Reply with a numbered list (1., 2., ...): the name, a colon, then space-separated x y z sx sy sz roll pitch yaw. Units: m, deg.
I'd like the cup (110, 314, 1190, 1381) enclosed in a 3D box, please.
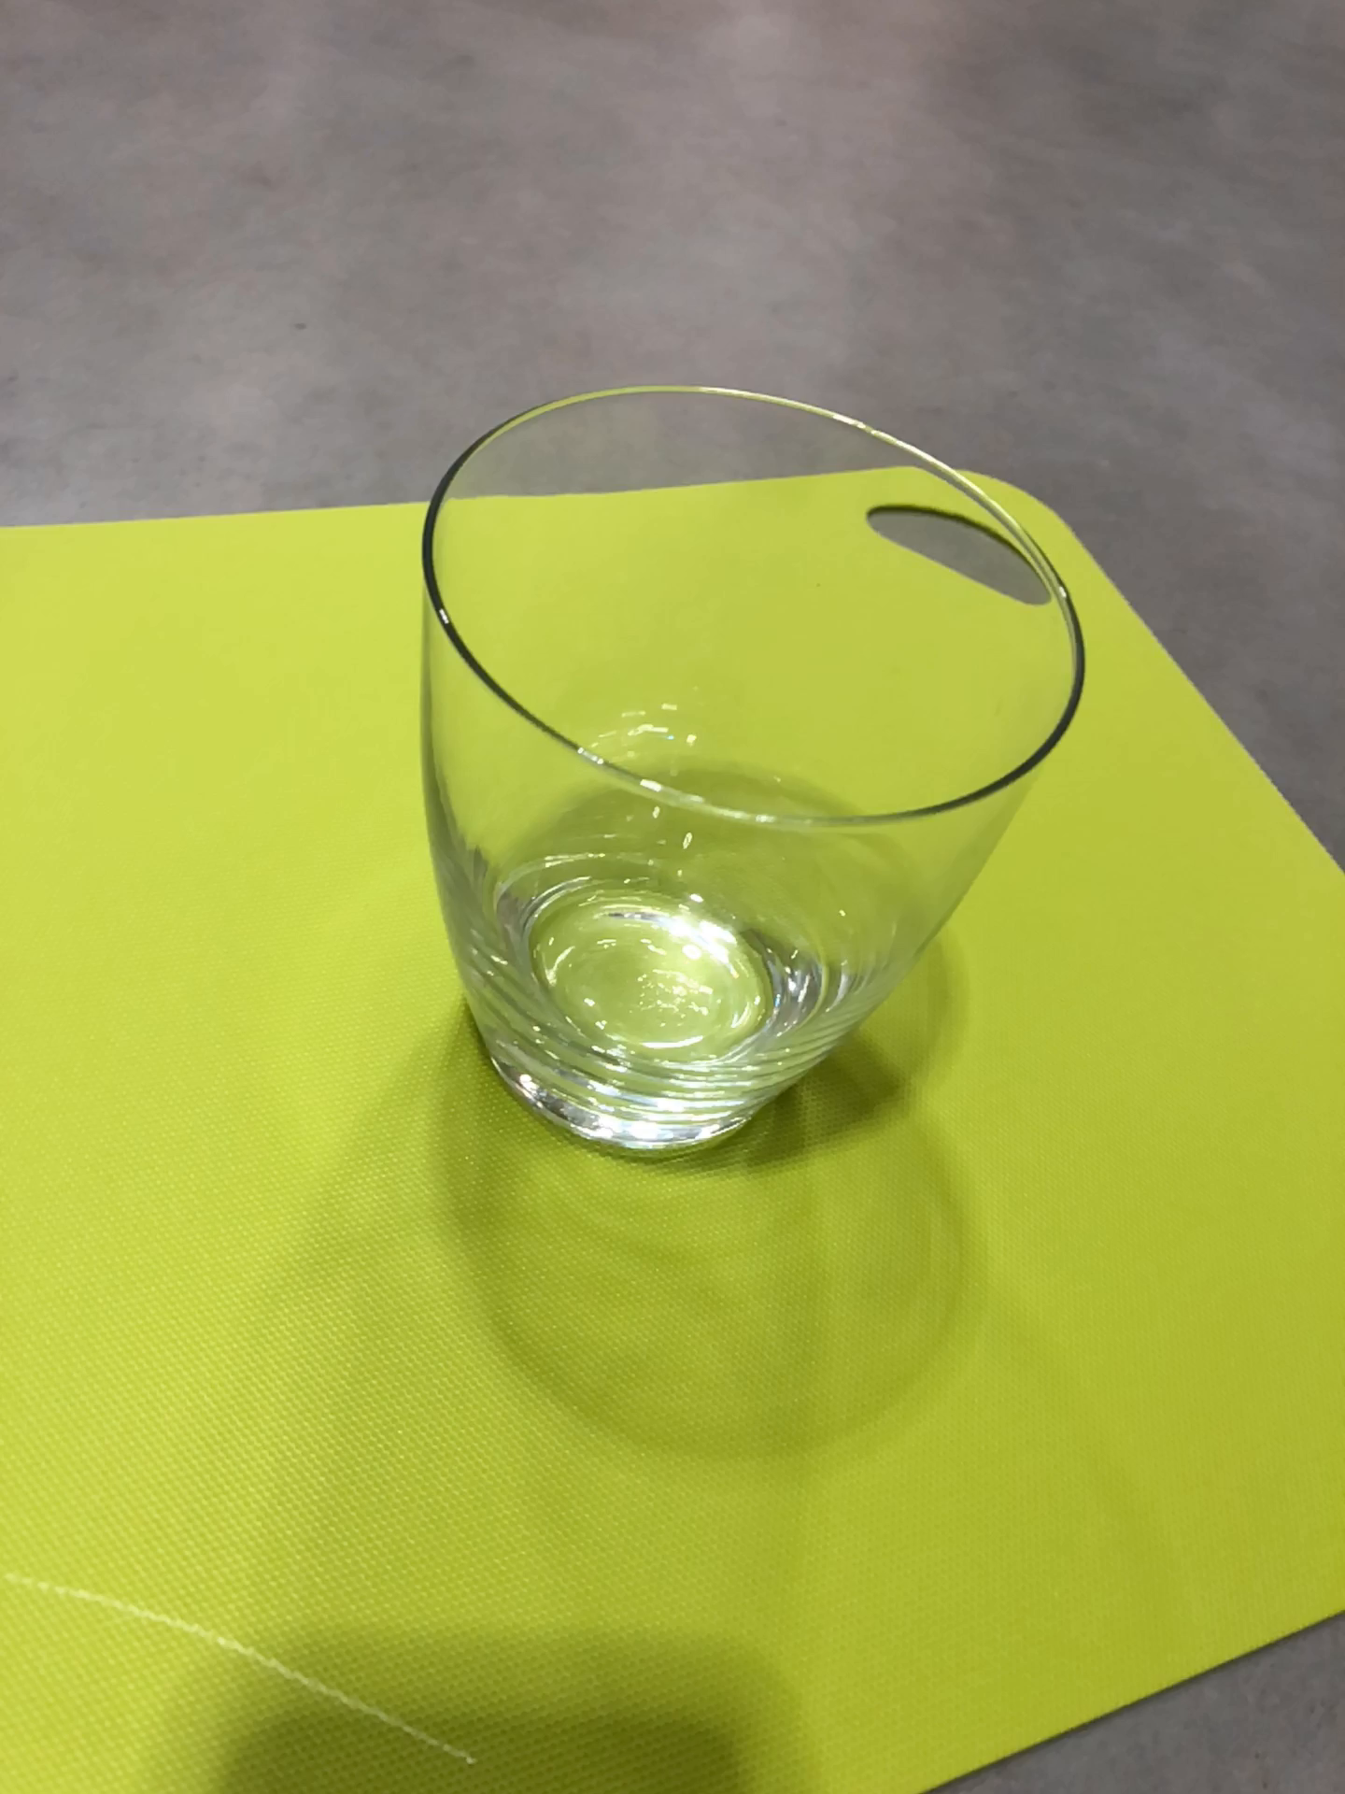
1. cup: -0.007 -0.014 0.247 0.110 0.090 0.110 7 49 -8
